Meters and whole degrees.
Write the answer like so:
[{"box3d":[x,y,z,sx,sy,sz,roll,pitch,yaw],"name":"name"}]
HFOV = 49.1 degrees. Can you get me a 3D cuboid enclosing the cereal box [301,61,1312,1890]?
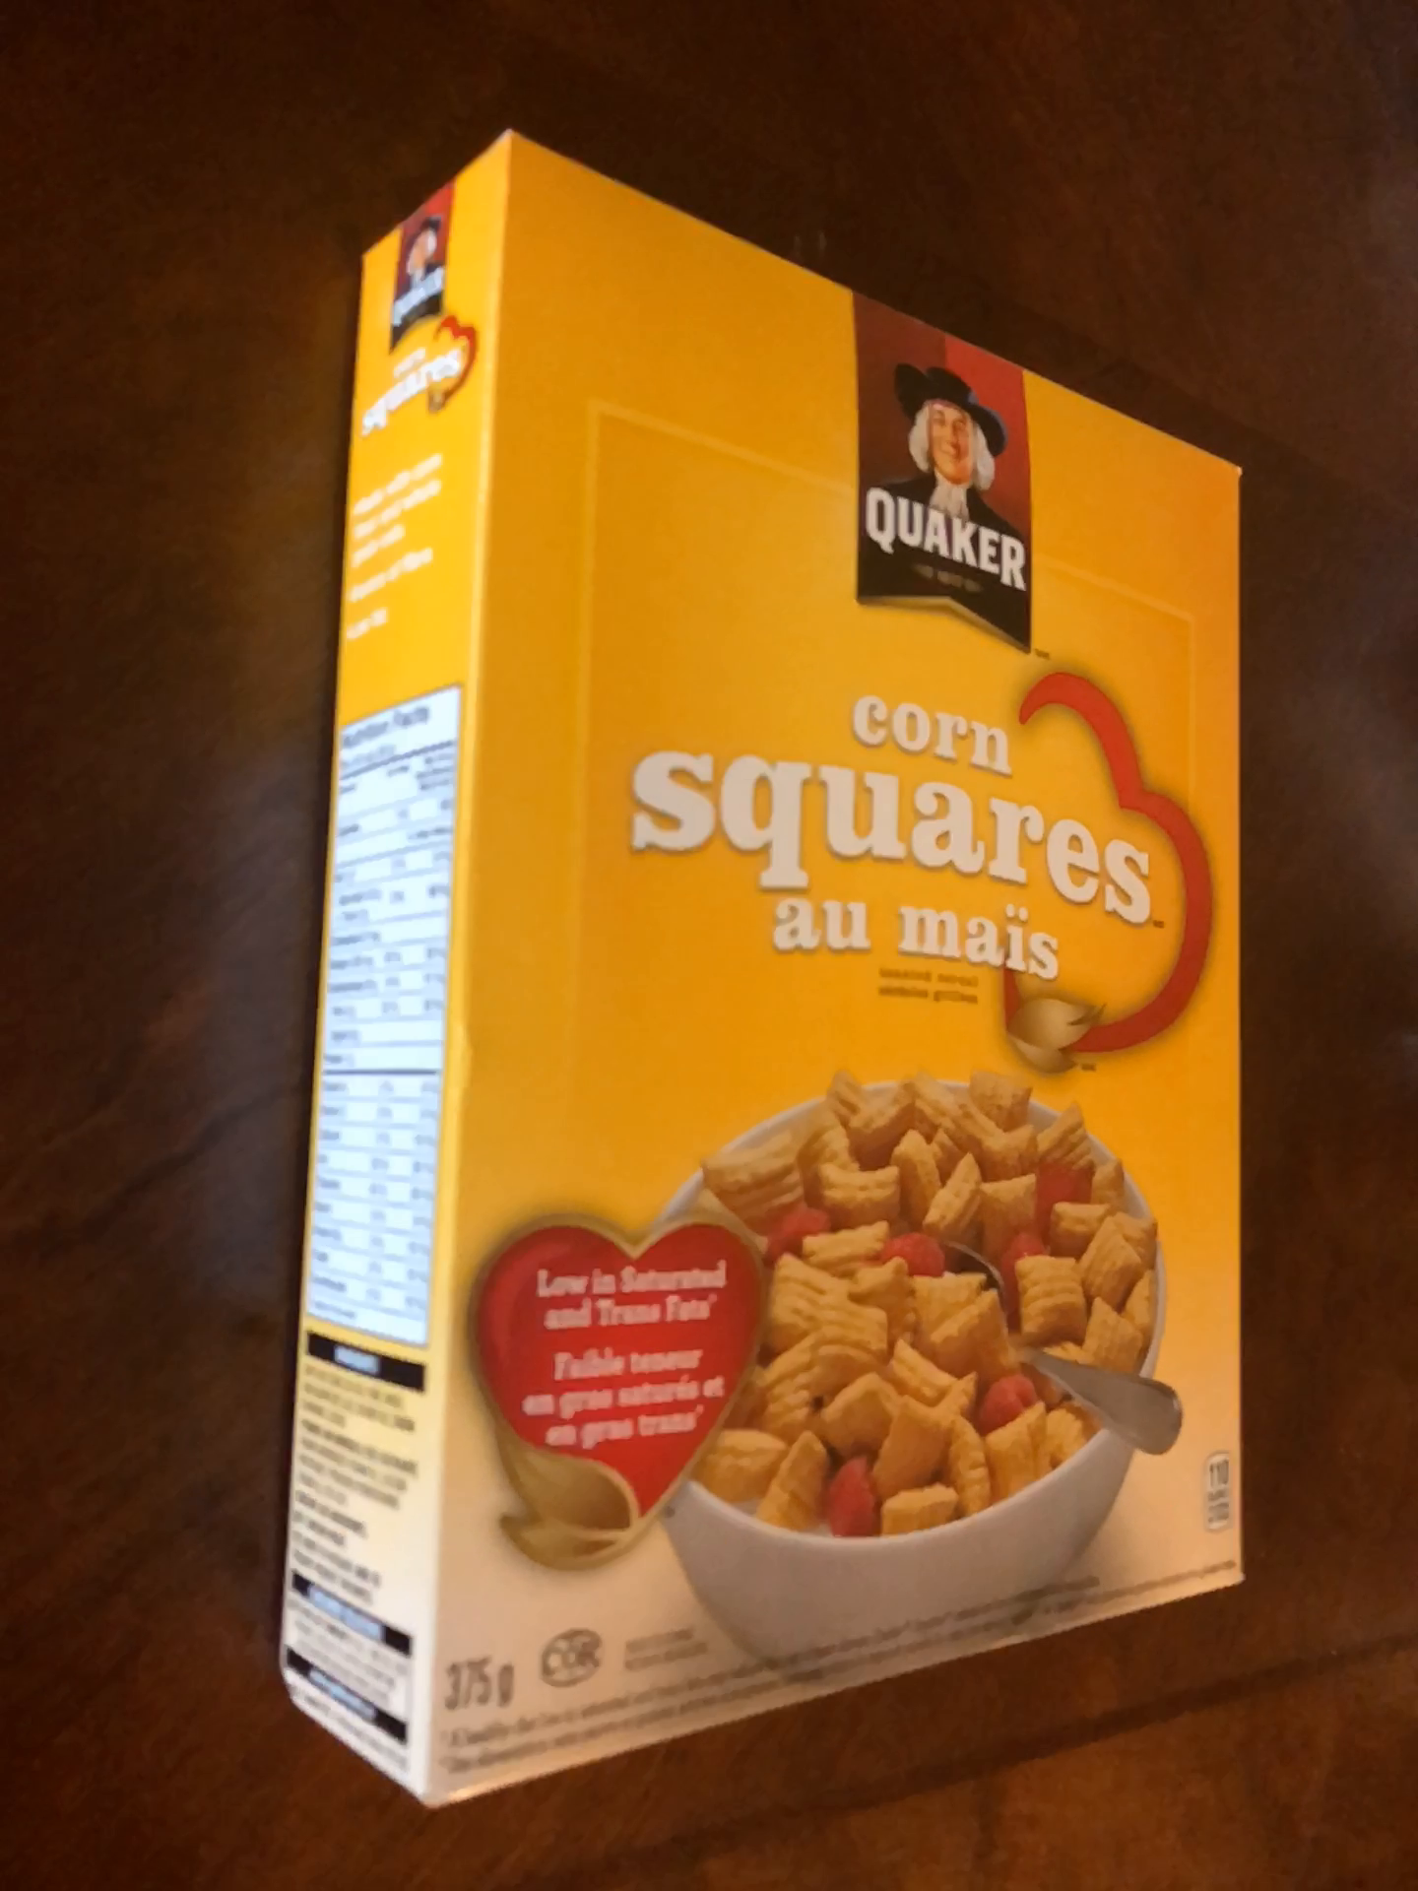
[{"box3d":[0.040,0.010,0.313,0.221,0.050,0.270,7,82,-39],"name":"cereal box"}]
